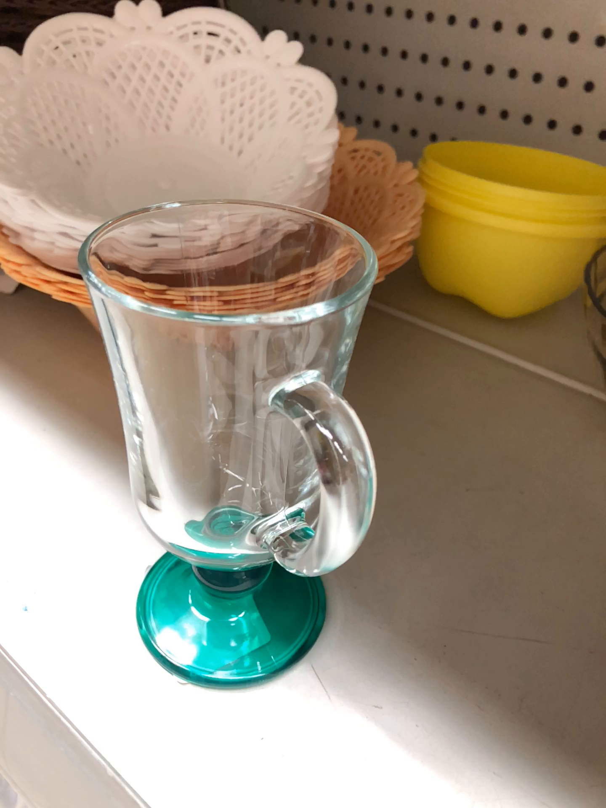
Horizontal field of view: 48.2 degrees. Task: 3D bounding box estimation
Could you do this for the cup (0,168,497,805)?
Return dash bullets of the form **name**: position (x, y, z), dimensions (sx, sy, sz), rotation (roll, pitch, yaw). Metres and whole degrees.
- **cup**: position (-0.025, 0.012, 0.193), dimensions (0.086, 0.118, 0.108), rotation (-24, 41, -31)
